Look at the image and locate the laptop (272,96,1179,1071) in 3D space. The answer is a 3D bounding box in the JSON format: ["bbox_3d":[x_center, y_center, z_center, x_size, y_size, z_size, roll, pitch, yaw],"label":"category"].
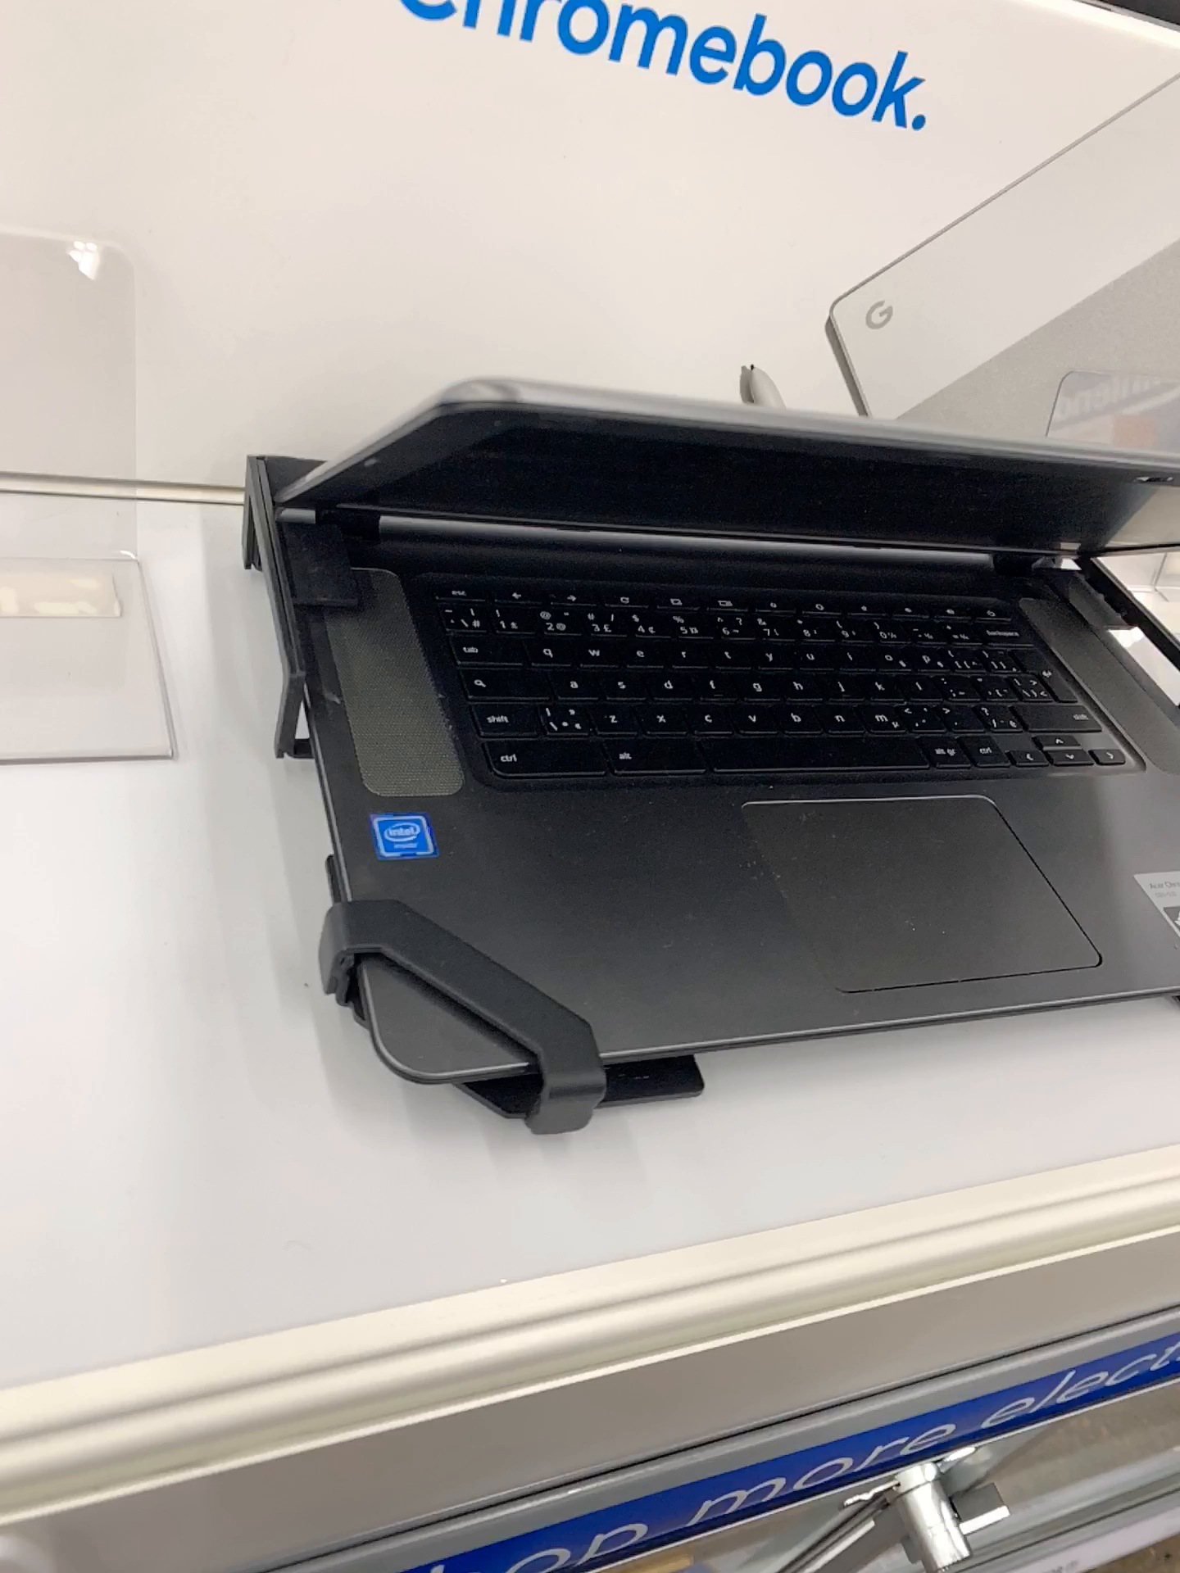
[{"bbox_3d":[0.086,-0.057,0.327,0.301,0.116,0.194,-2,47,-23],"label":"laptop"}]
